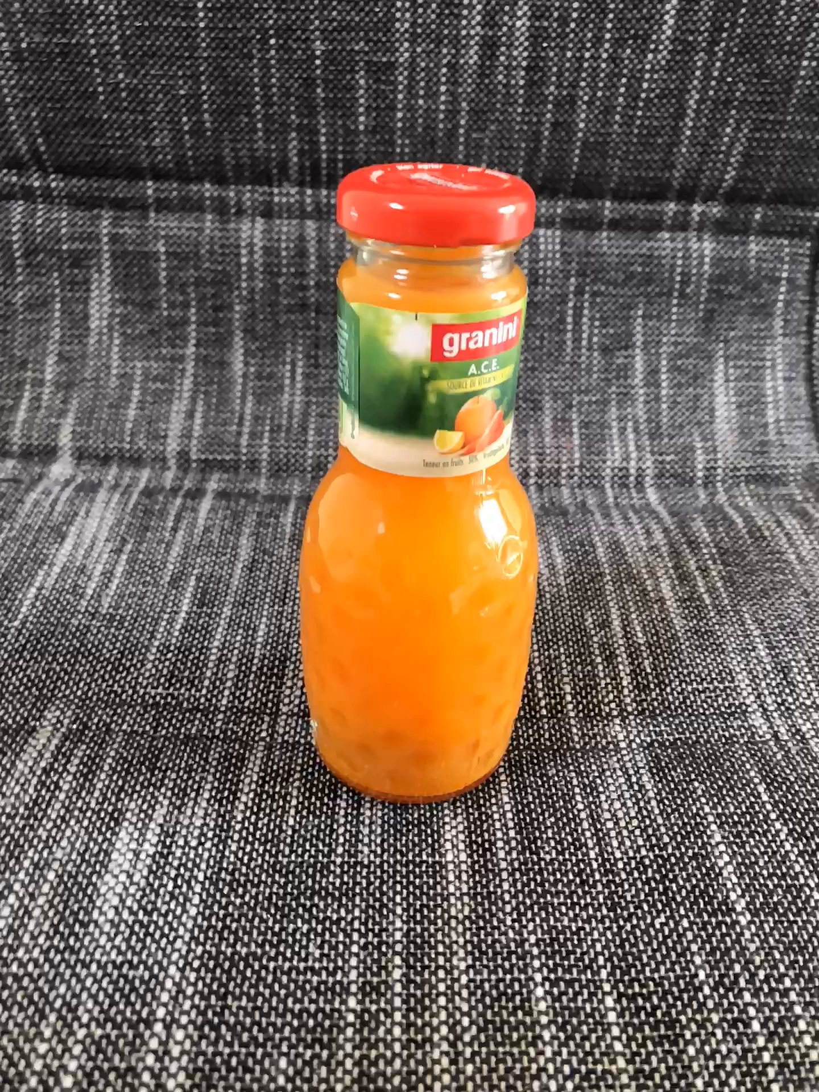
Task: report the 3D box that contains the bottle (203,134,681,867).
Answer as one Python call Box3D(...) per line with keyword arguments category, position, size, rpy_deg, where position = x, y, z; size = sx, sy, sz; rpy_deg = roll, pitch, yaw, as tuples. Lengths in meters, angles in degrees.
Box3D(category="bottle", position=(0.000, -0.009, 0.213), size=(0.070, 0.149, 0.060), rpy_deg=(-14, 37, -25))
